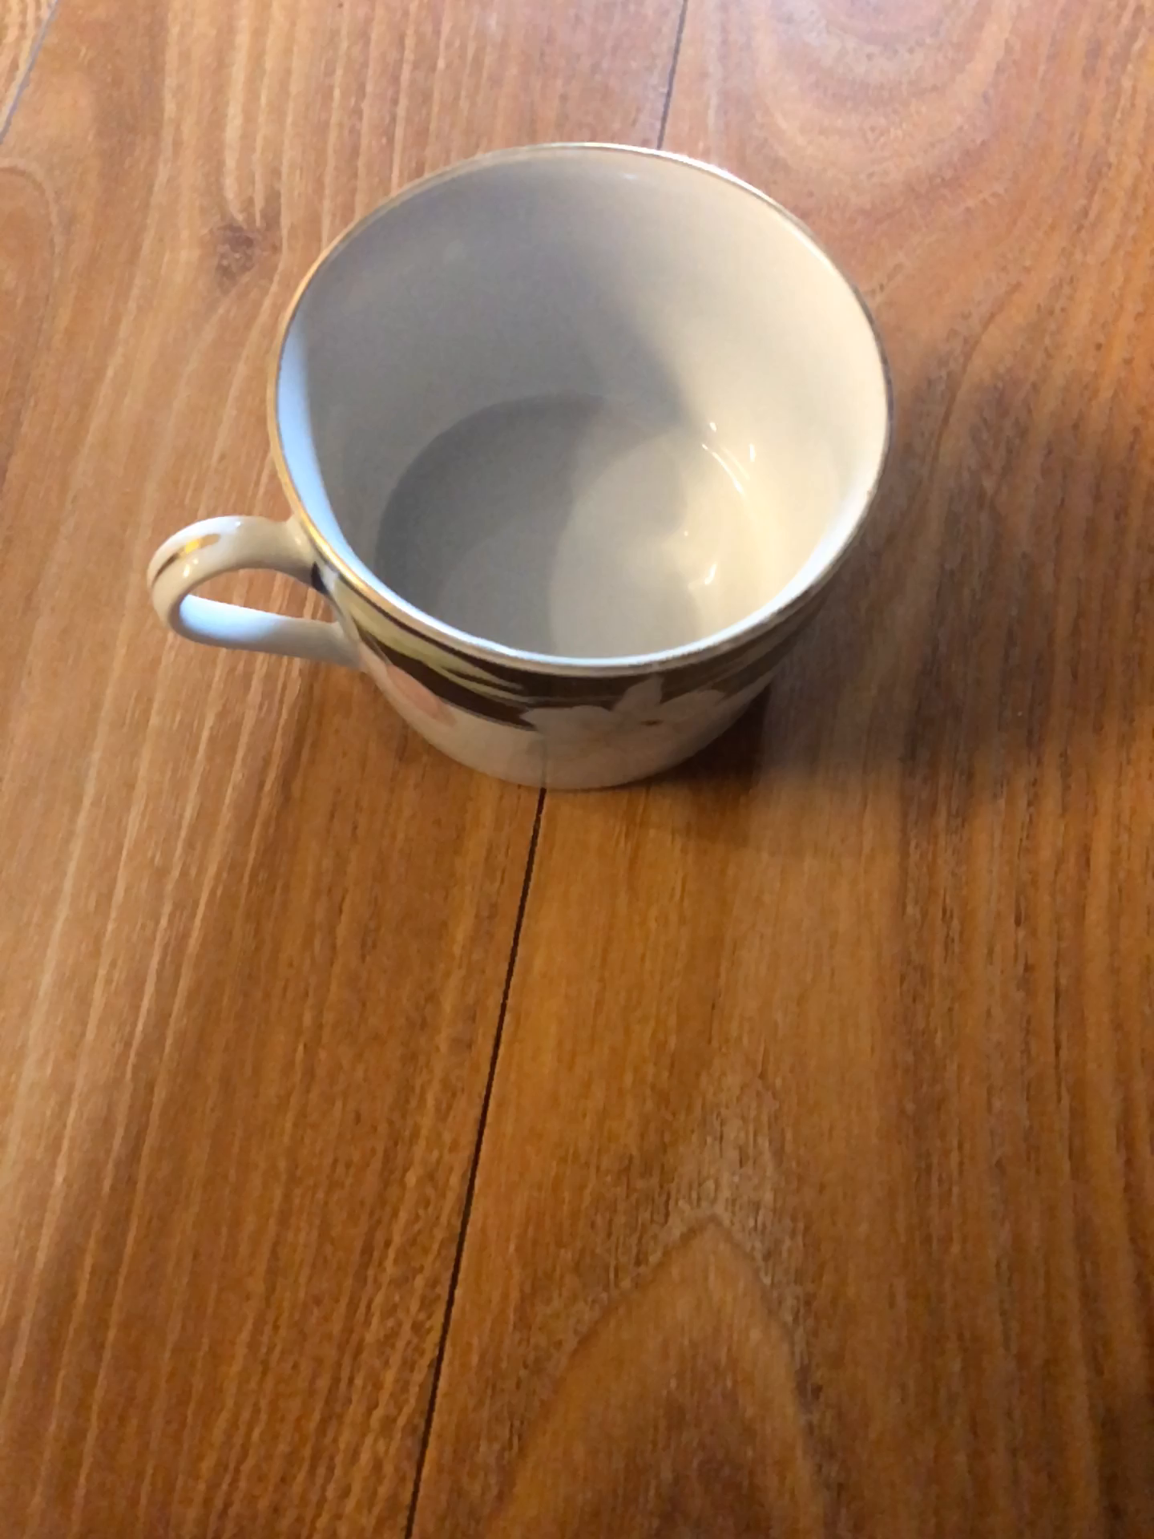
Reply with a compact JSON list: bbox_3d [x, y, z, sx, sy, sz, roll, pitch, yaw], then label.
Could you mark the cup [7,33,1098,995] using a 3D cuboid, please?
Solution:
[{"bbox_3d":[-0.006,-0.035,0.189,0.110,0.060,0.090,-22,73,-8],"label":"cup"}]
